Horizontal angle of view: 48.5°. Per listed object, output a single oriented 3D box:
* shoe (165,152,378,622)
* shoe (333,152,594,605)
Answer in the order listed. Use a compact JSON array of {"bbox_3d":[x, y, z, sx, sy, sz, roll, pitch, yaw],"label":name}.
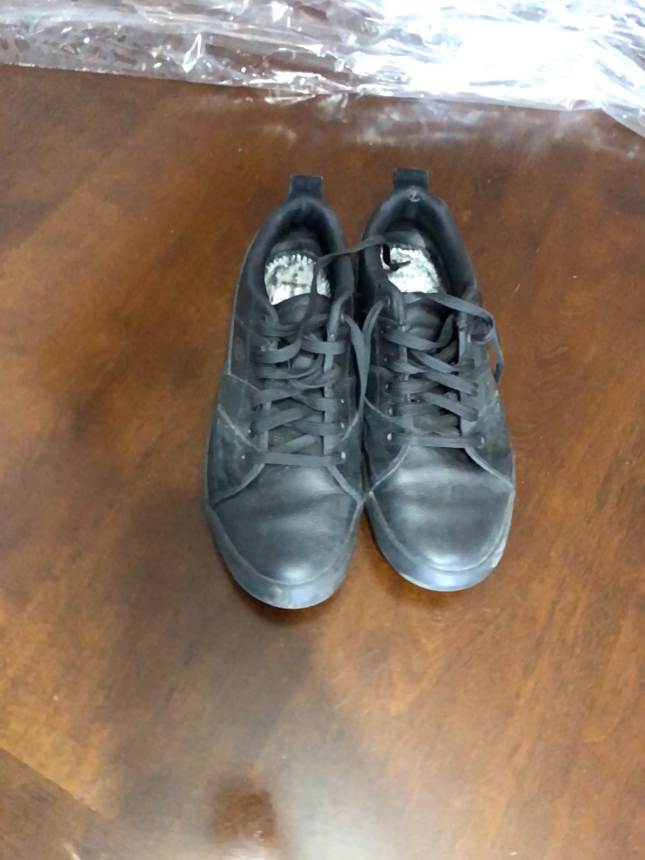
[{"bbox_3d":[-0.028,-0.034,0.487,0.110,0.110,0.300,2,63,-3],"label":"shoe"},{"bbox_3d":[0.079,-0.043,0.502,0.110,0.110,0.300,-2,63,-6],"label":"shoe"}]
